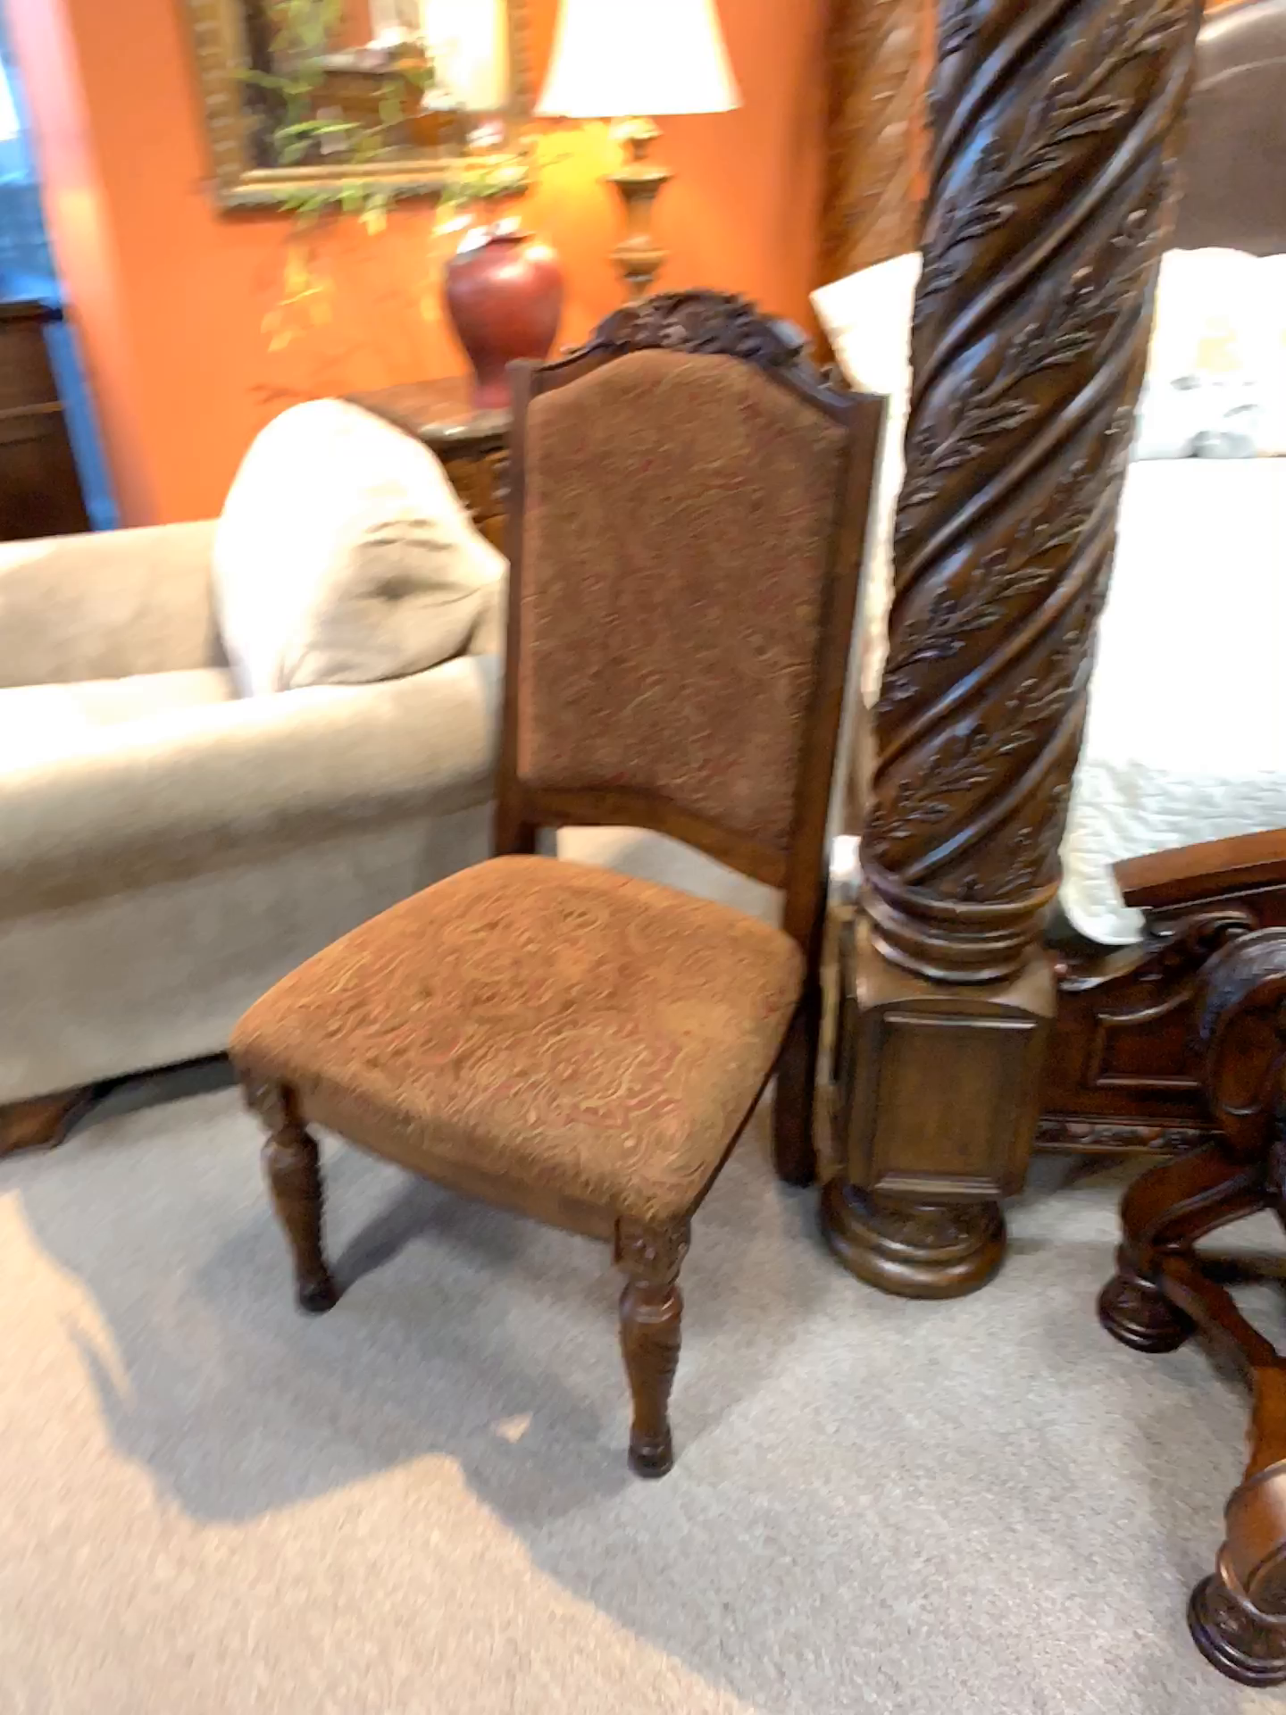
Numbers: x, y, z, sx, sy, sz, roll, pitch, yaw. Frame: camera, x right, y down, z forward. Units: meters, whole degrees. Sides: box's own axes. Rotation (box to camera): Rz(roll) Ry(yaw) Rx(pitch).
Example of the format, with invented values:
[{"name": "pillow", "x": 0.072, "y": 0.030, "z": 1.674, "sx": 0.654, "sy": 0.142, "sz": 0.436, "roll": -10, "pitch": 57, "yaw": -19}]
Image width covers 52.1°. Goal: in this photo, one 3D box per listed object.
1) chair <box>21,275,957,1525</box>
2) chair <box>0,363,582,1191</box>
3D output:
[{"name": "chair", "x": -0.090, "y": 0.004, "z": 1.476, "sx": 0.591, "sy": 1.123, "sz": 0.639, "roll": 15, "pitch": 34, "yaw": 26}, {"name": "chair", "x": -0.683, "y": -0.216, "z": 2.067, "sx": 0.897, "sy": 0.864, "sz": 0.884, "roll": -12, "pitch": 32, "yaw": -18}]
